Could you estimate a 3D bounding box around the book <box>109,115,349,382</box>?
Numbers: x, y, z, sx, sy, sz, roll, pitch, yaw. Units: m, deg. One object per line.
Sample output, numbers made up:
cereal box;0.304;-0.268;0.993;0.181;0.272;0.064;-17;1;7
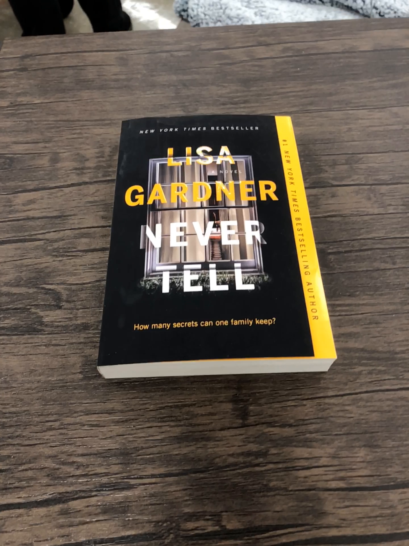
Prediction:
book;0.012;-0.030;0.327;0.137;0.032;0.208;-1;58;0
